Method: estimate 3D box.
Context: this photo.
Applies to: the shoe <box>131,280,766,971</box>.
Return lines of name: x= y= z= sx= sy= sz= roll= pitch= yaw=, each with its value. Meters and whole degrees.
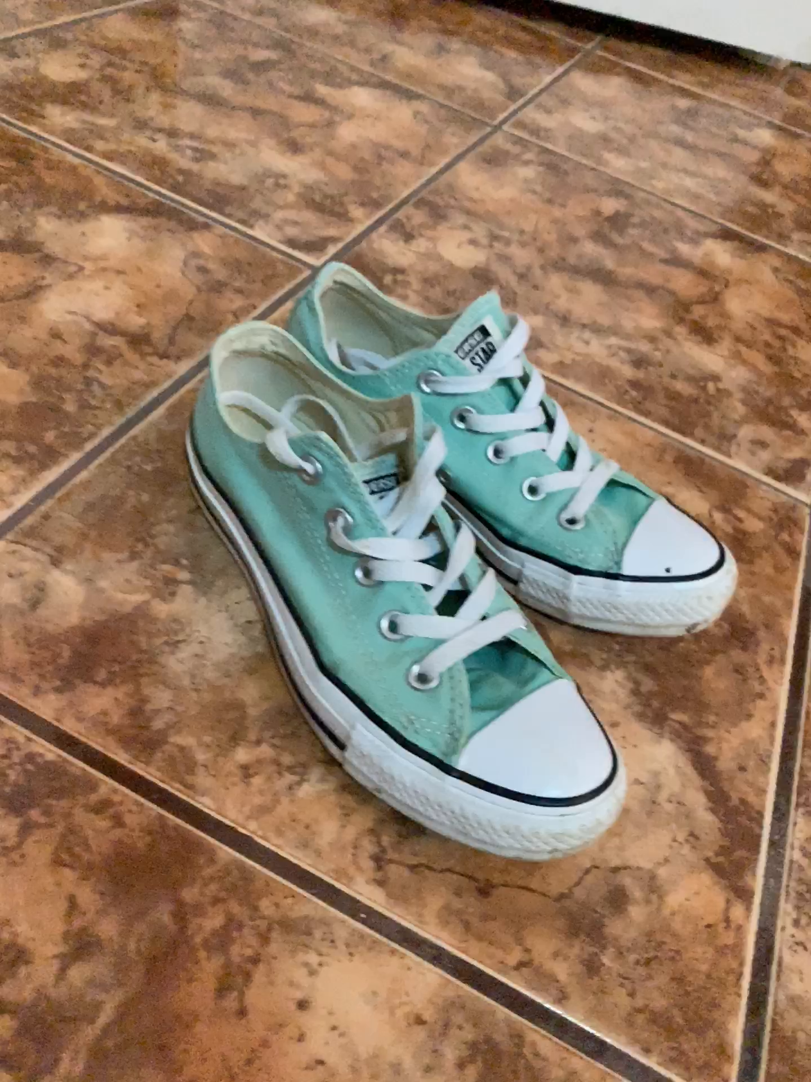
shoe: x=-0.007 y=0.012 z=0.323 sx=0.098 sy=0.094 sz=0.244 roll=-21 pitch=56 yaw=-32

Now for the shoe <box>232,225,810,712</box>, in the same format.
shoe: x=0.047 y=-0.043 z=0.390 sx=0.243 sy=0.084 sz=0.095 roll=32 pitch=46 yaw=14
